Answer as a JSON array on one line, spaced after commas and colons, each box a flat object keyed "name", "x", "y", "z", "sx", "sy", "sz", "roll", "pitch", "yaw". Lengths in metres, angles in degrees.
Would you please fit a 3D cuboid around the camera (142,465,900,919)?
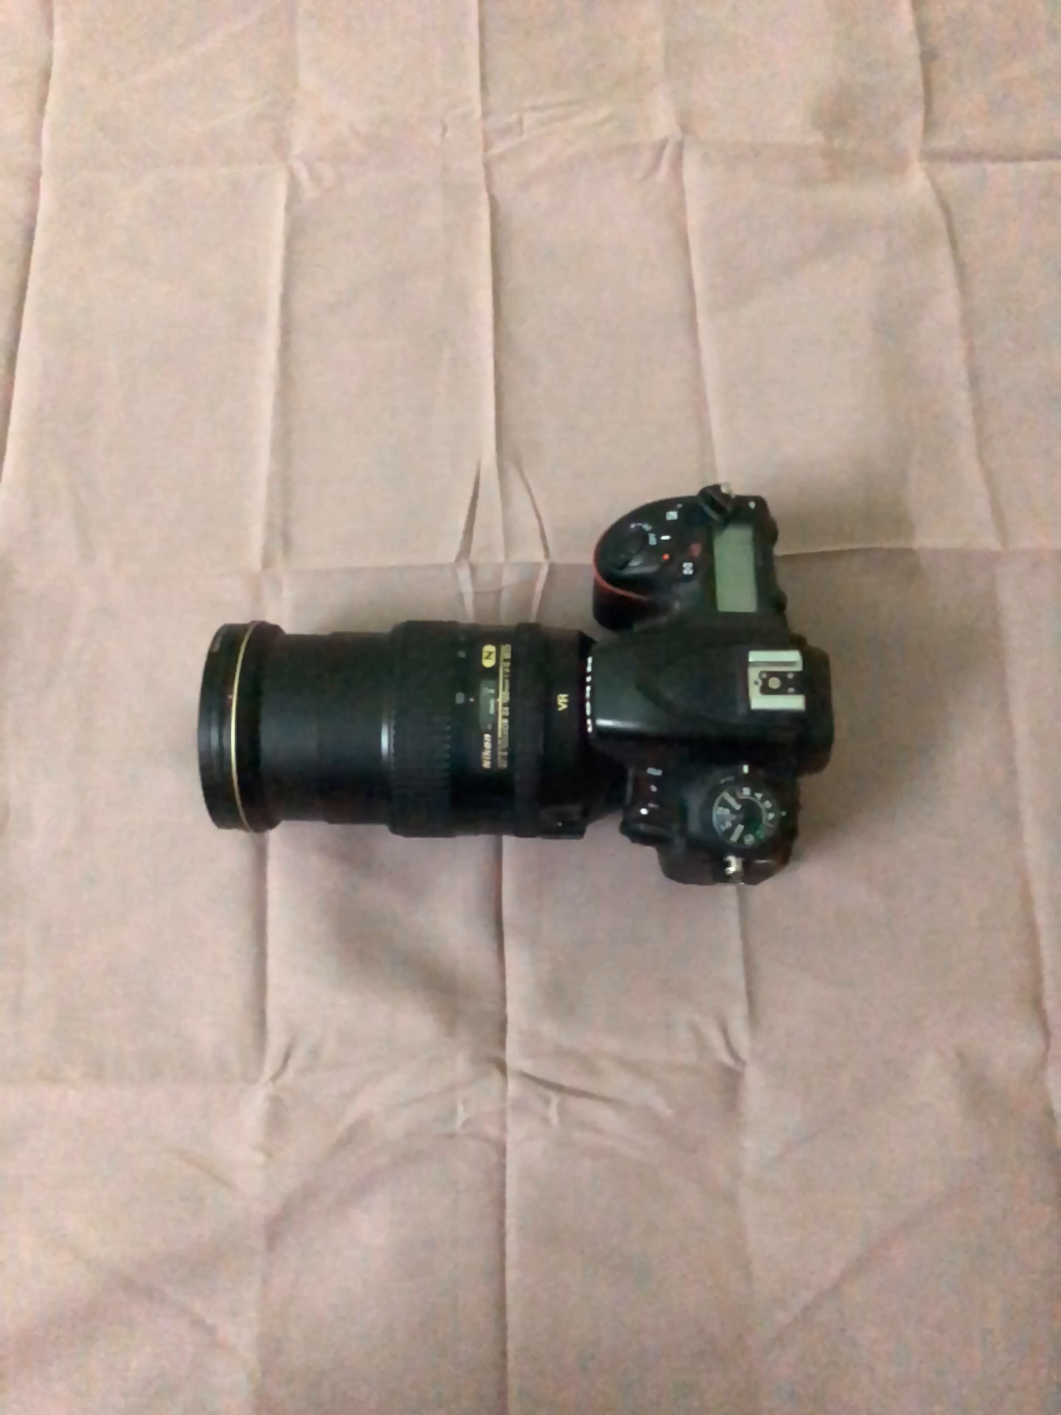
[{"name": "camera", "x": -0.003, "y": 0.001, "z": 0.430, "sx": 0.231, "sy": 0.110, "sz": 0.139, "roll": 1, "pitch": 74, "yaw": 0}]
